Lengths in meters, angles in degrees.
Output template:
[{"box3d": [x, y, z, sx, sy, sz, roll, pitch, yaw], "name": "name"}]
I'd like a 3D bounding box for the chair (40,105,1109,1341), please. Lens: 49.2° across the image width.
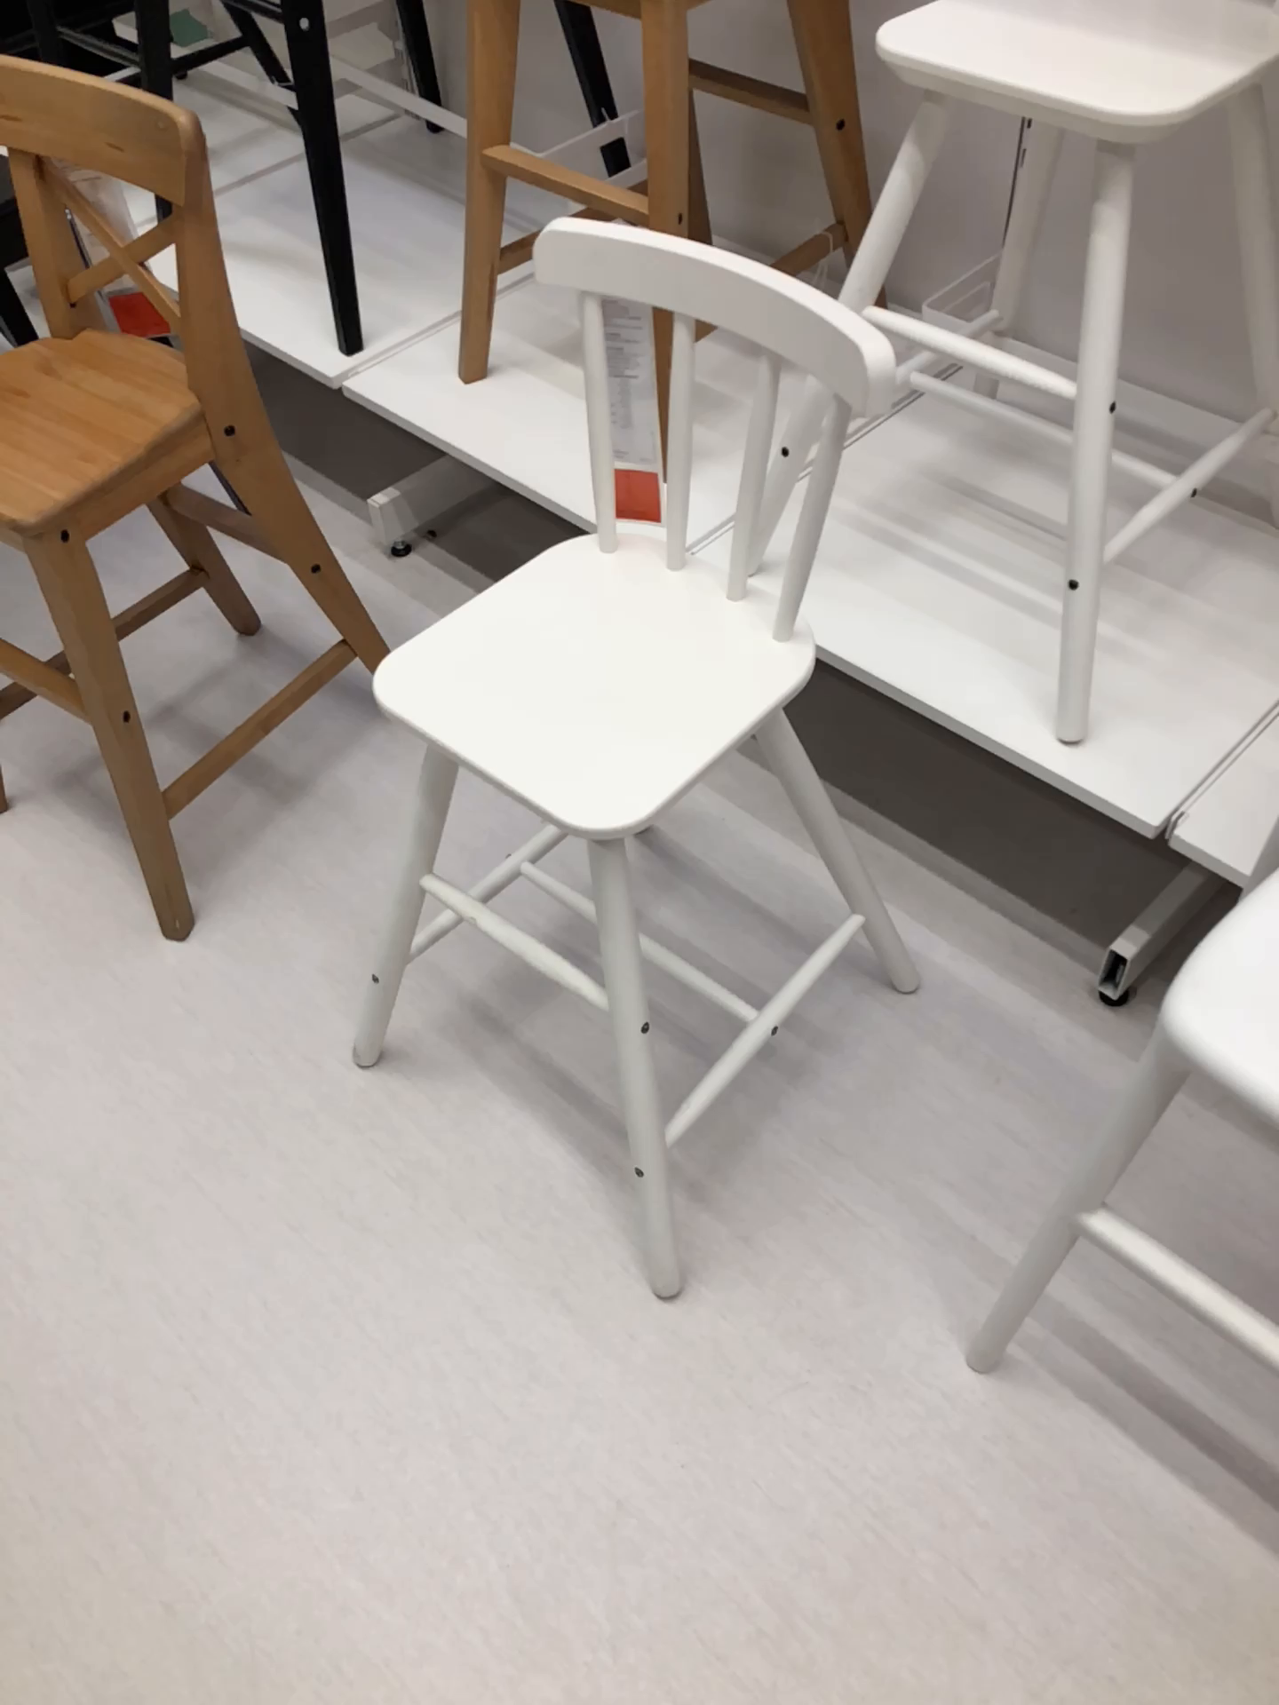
[{"box3d": [-0.015, -0.080, 1.189, 0.471, 0.795, 0.502, 31, 58, 27], "name": "chair"}]
